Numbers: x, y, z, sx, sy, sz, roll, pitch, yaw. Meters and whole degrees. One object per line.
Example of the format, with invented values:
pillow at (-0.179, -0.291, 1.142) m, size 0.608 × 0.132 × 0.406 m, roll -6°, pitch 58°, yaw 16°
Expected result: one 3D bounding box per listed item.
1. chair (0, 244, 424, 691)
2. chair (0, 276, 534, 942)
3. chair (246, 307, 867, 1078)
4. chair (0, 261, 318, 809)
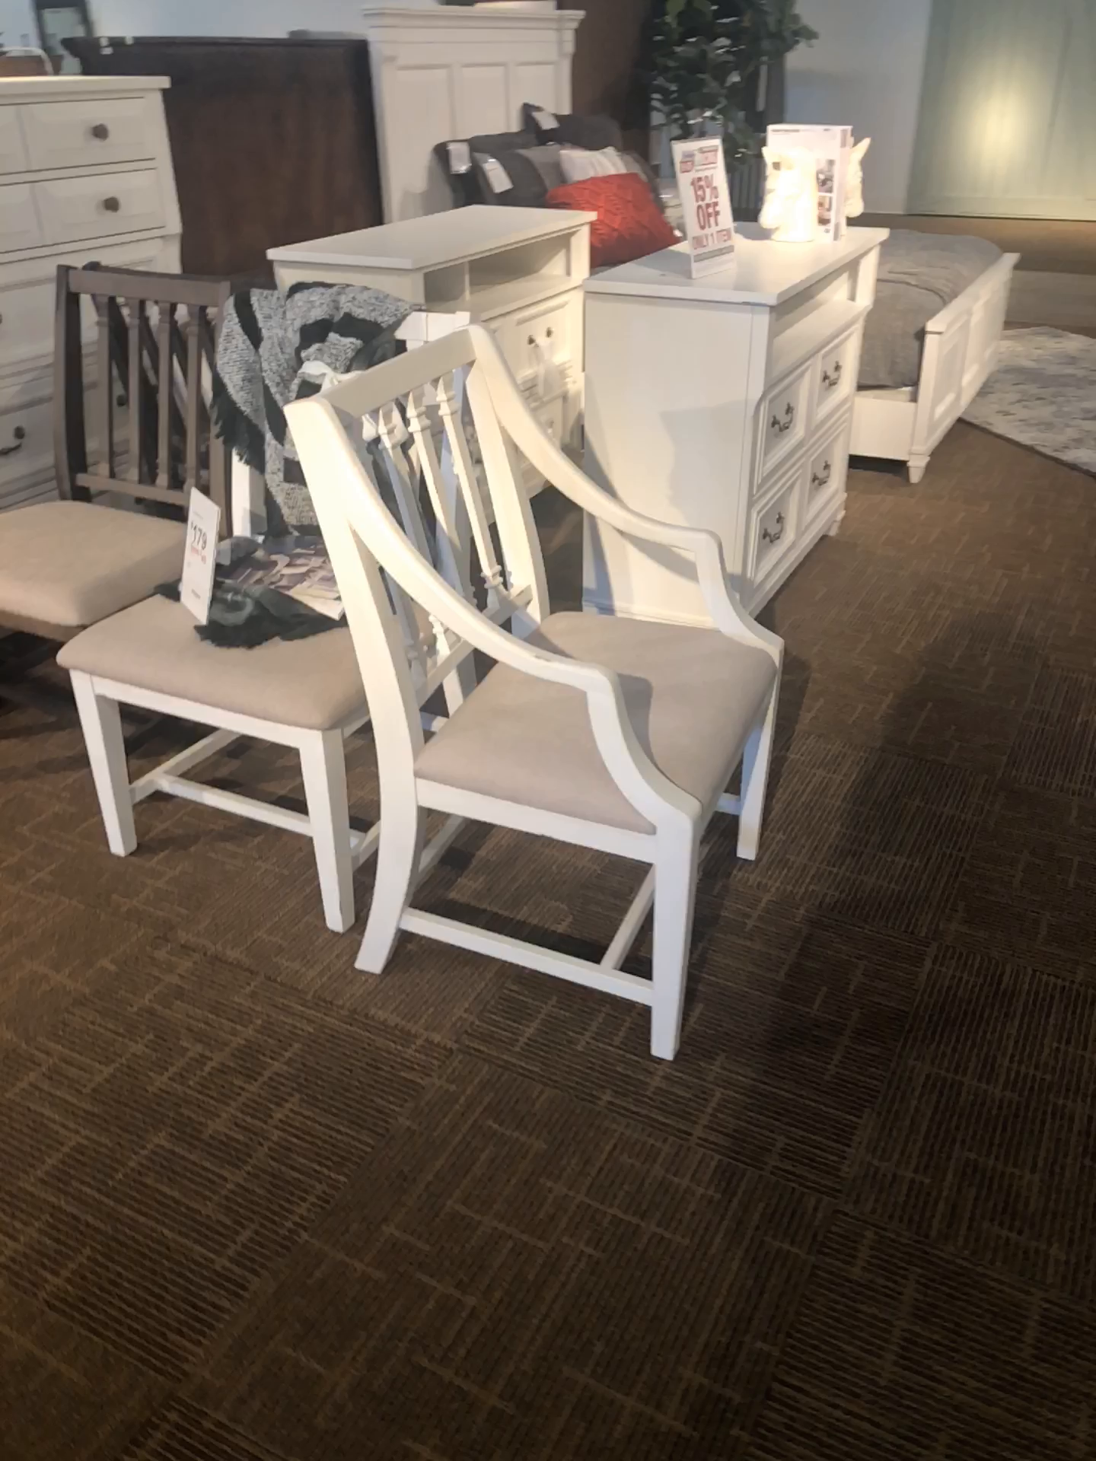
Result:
chair at (-0.875, -0.710, 3.062) m, size 0.871 × 0.885 × 0.603 m, roll 14°, pitch 32°, yaw 25°
chair at (-0.429, -0.251, 2.064) m, size 0.560 × 0.885 × 0.643 m, roll 14°, pitch 32°, yaw 24°
chair at (0.053, -0.110, 1.834) m, size 0.630 × 0.885 × 0.653 m, roll 12°, pitch 31°, yaw 22°
chair at (-0.971, -0.437, 2.466) m, size 0.680 × 0.885 × 0.583 m, roll 14°, pitch 32°, yaw 24°
